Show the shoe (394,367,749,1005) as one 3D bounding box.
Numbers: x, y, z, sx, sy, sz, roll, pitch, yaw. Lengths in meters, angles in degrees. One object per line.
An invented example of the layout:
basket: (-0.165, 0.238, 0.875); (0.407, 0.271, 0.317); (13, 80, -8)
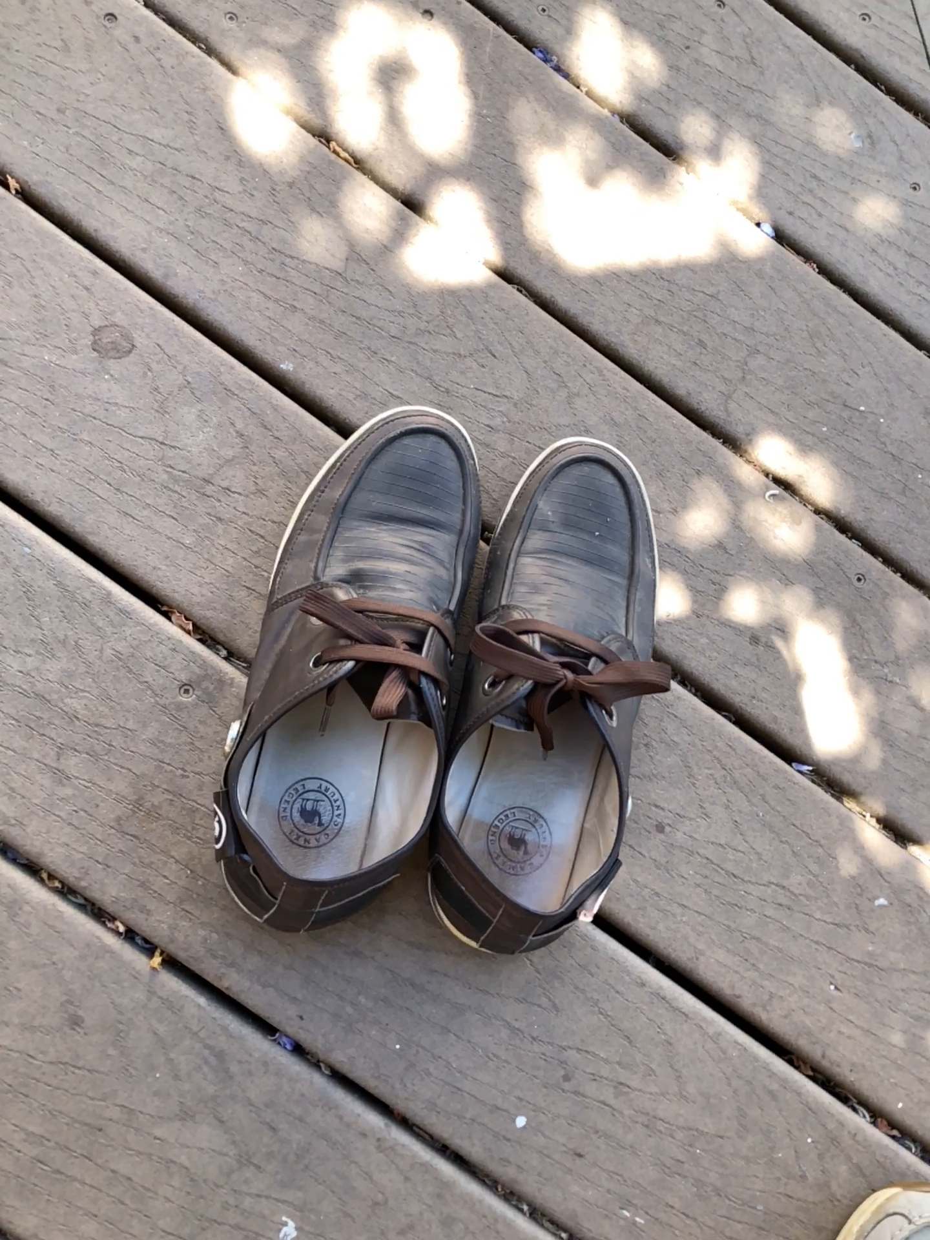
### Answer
shoe: (0.054, 0.033, 0.538); (0.107, 0.105, 0.289); (14, 77, -9)

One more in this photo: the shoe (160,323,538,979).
shoe: (-0.058, 0.017, 0.526); (0.107, 0.115, 0.287); (15, 77, -9)
